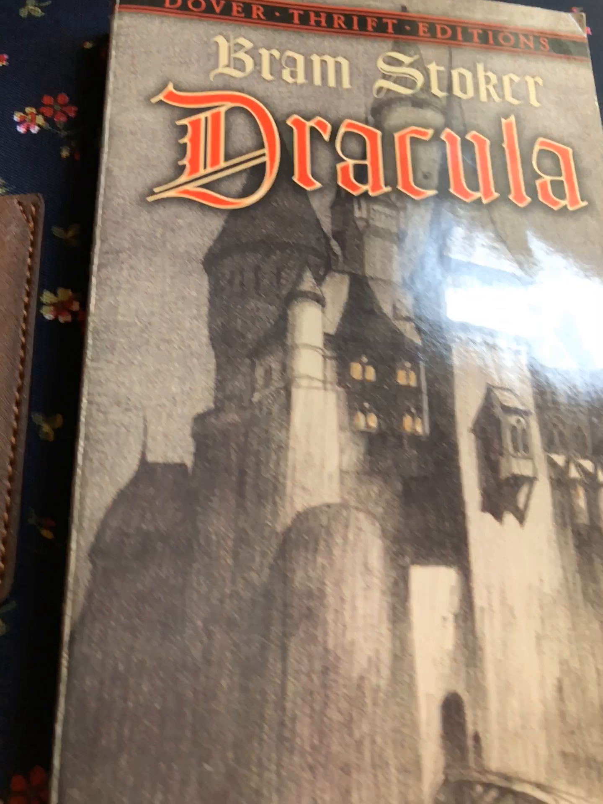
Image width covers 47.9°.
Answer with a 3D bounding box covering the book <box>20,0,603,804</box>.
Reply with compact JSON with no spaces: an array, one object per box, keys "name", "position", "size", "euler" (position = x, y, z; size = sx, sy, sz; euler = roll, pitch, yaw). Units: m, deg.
[{"name":"book","position":[0.015,-0.007,0.162],"size":[0.130,0.033,0.202],"euler":[1,72,-9]}]
